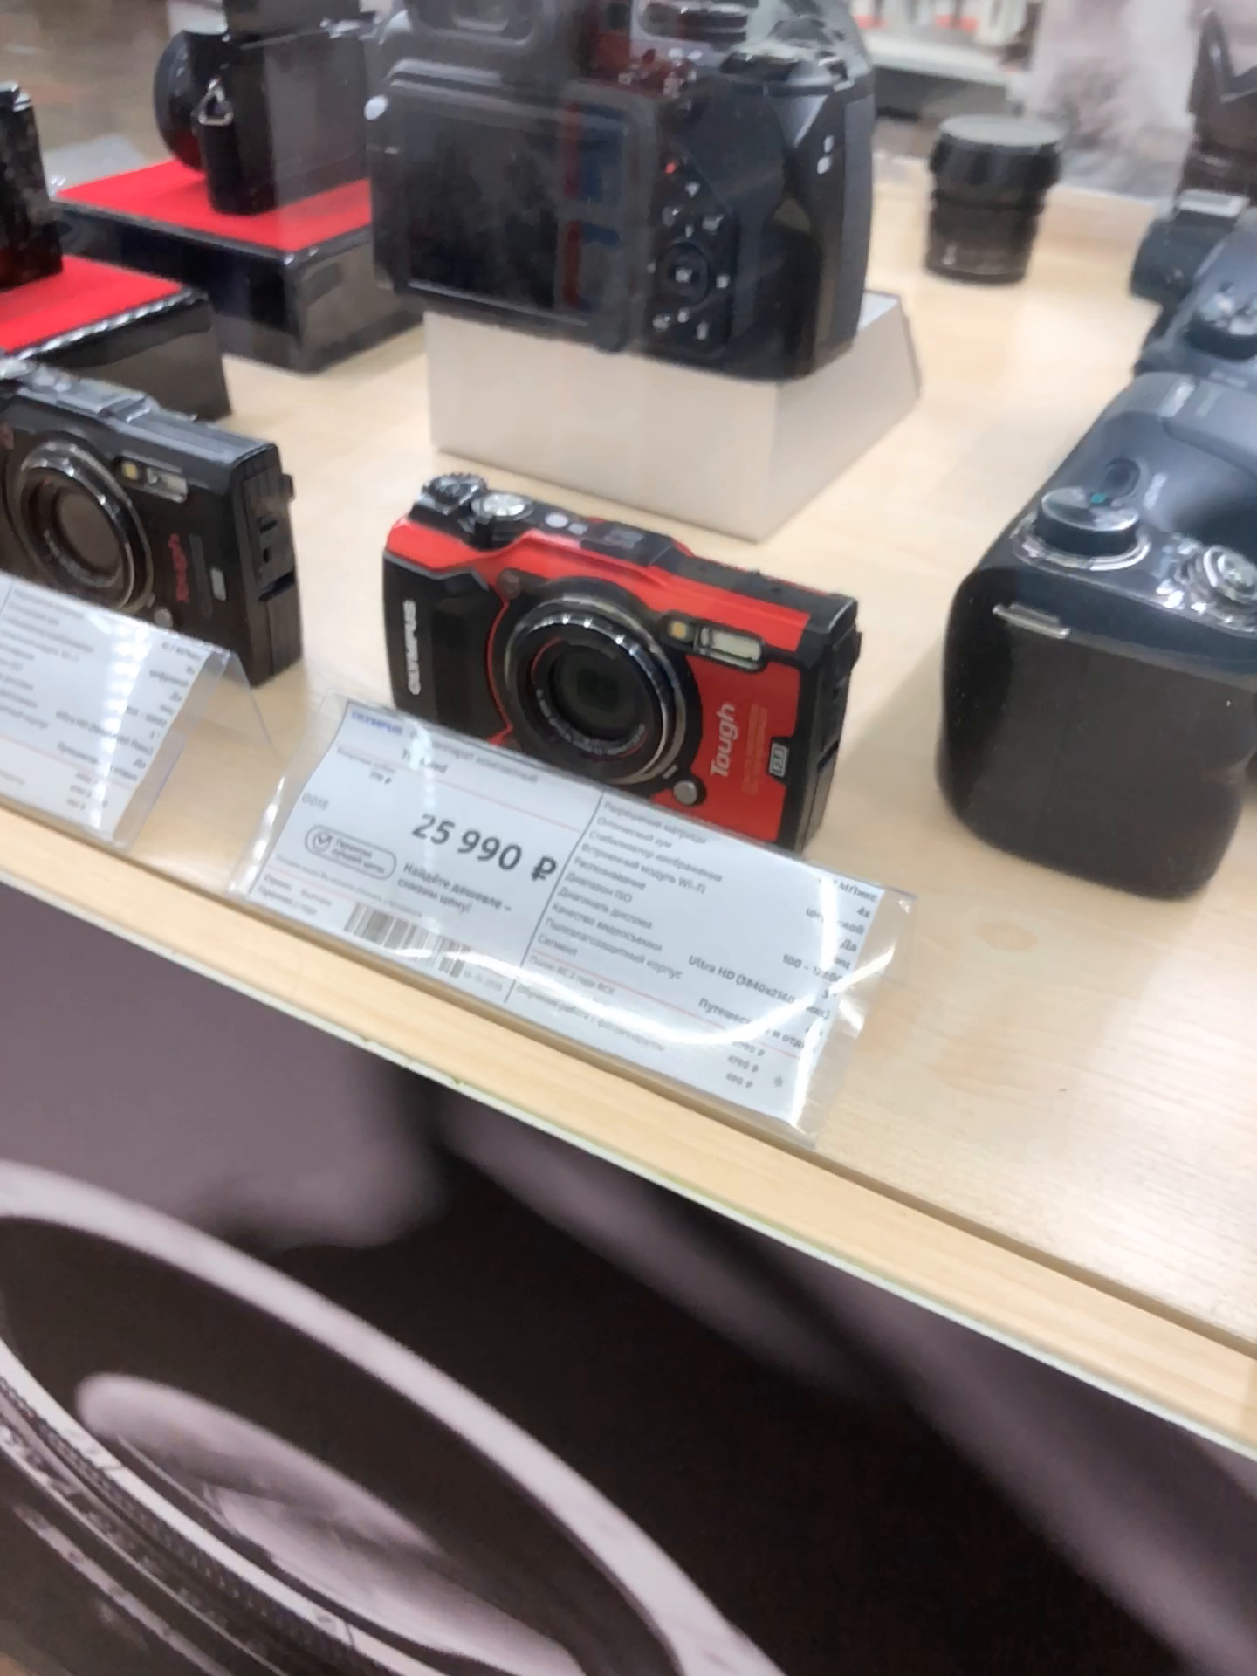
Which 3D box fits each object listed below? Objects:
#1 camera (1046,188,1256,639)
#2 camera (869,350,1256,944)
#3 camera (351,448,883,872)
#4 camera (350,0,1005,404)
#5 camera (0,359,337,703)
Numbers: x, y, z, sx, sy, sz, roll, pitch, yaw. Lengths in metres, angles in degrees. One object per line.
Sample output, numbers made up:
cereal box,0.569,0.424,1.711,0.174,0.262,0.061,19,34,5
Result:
camera,0.225,-0.154,0.481,0.102,0.086,0.159,20,41,21
camera,0.129,-0.054,0.339,0.094,0.078,0.117,21,41,21
camera,-0.006,-0.044,0.329,0.119,0.061,0.030,21,41,21
camera,0.016,-0.211,0.429,0.147,0.086,0.127,21,41,22
camera,-0.140,-0.088,0.393,0.117,0.061,0.030,21,41,21
